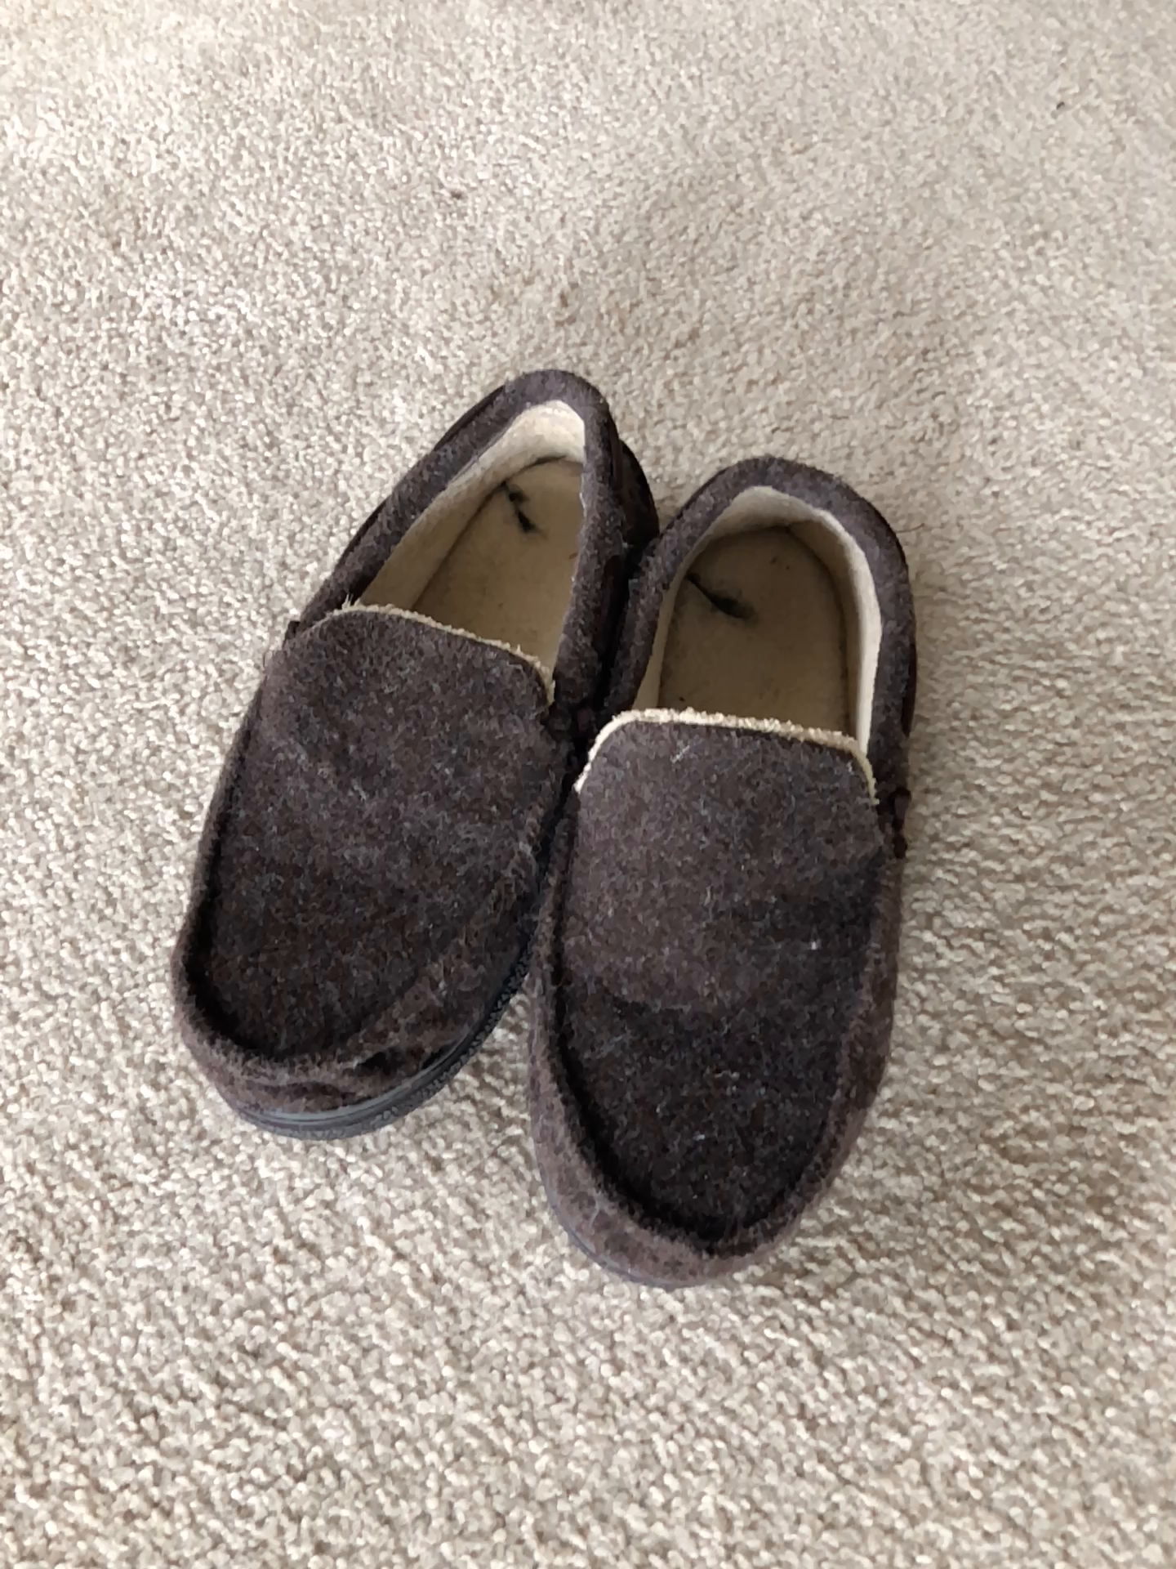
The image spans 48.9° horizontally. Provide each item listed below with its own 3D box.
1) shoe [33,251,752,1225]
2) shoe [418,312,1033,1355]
[{"bbox_3d":[-0.043,-0.031,0.451,0.120,0.096,0.318,15,62,9],"label":"shoe"},{"bbox_3d":[0.057,0.000,0.426,0.119,0.096,0.317,13,62,8],"label":"shoe"}]
